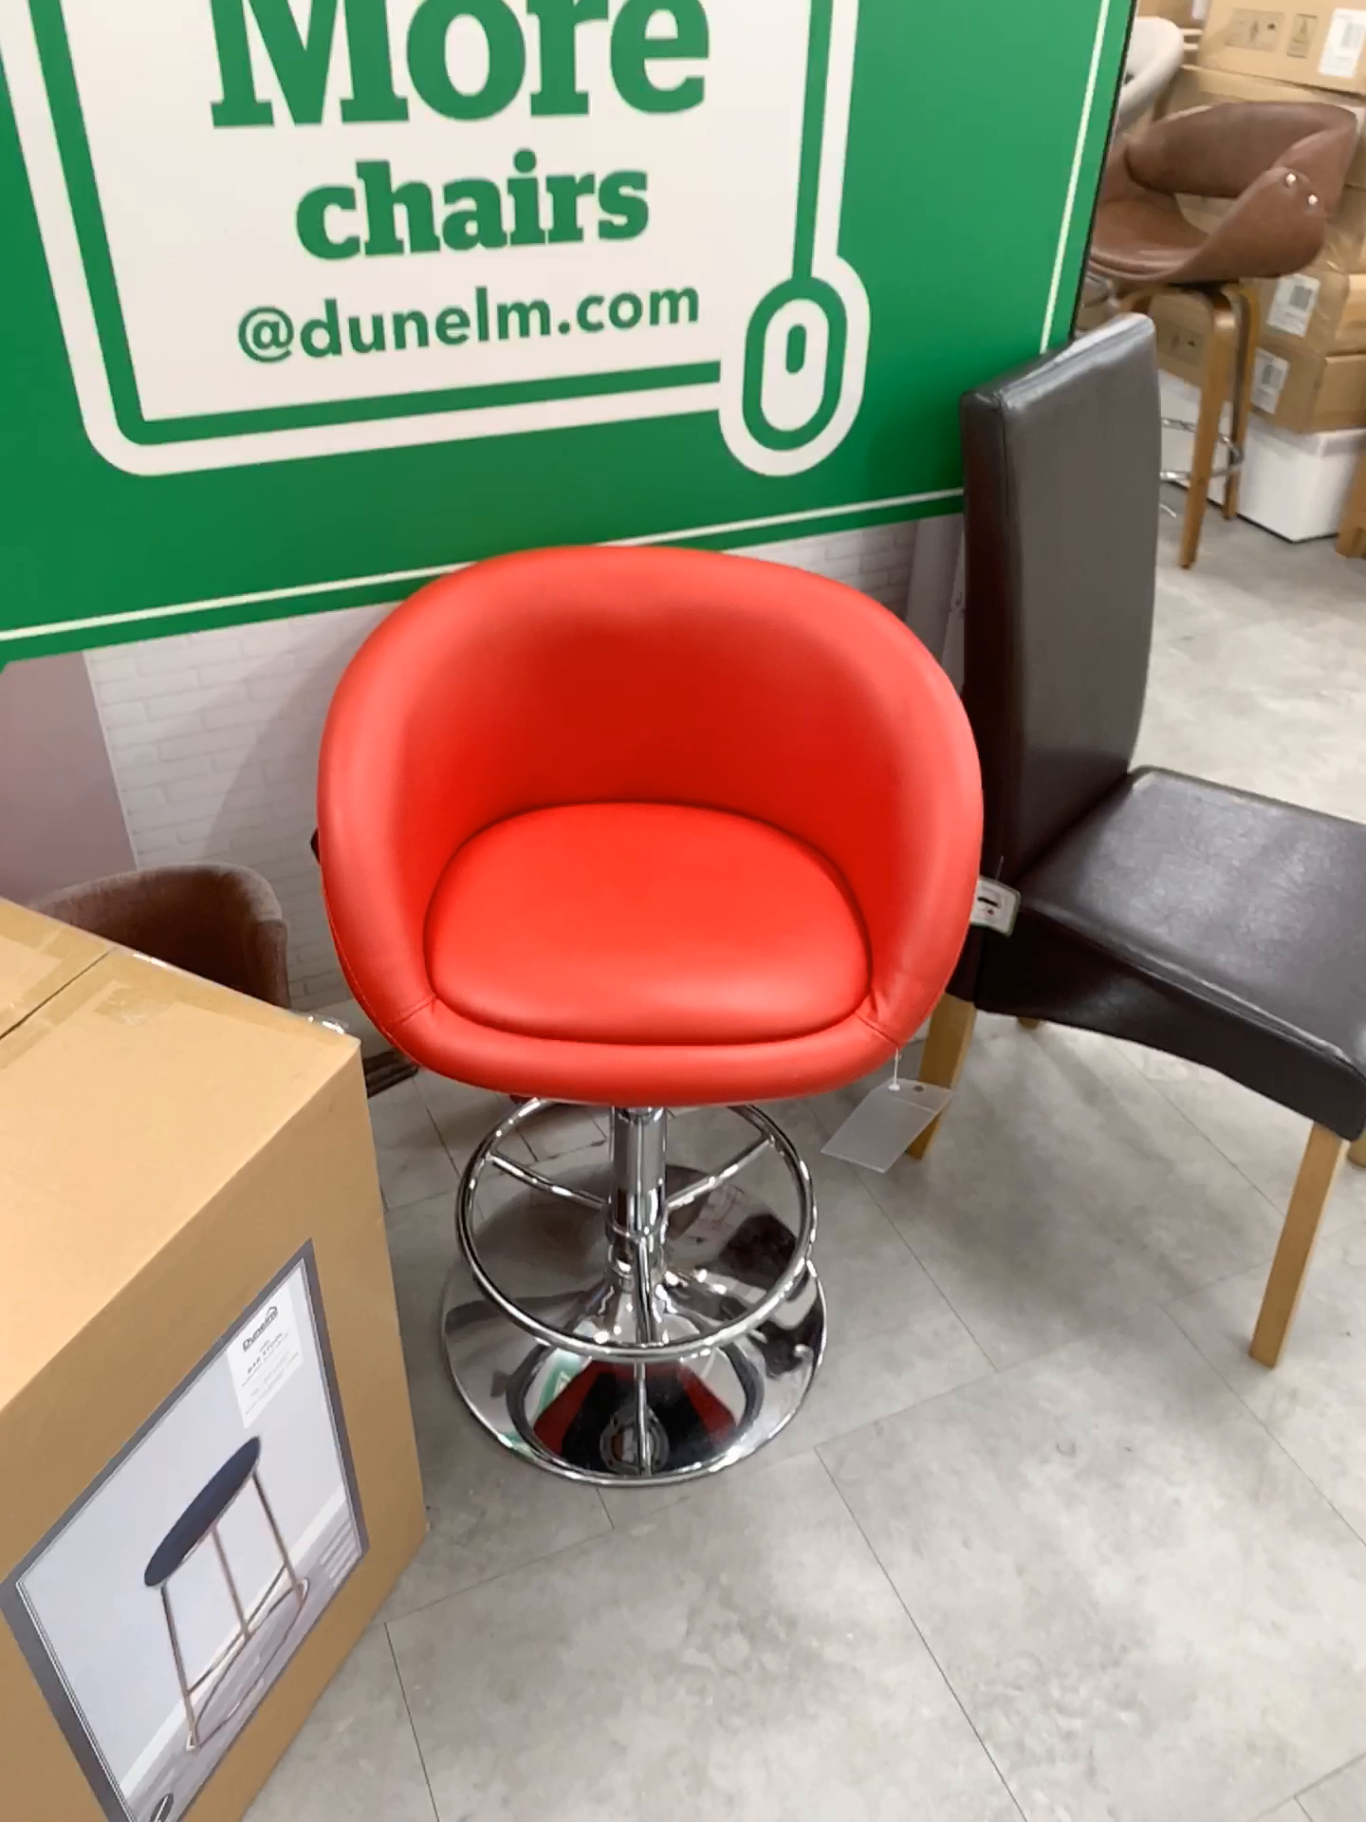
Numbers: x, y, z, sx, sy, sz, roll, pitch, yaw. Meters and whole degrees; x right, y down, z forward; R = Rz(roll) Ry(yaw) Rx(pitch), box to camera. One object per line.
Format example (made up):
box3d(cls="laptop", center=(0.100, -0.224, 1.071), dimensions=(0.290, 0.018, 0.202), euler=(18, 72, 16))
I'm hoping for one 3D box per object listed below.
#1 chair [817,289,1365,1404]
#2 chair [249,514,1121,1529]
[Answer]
box3d(cls="chair", center=(0.526, -0.080, 1.403), dimensions=(0.532, 0.852, 0.507), euler=(24, 42, 28))
box3d(cls="chair", center=(-0.027, 0.100, 1.252), dimensions=(0.534, 0.743, 0.465), euler=(-4, 37, -7))
